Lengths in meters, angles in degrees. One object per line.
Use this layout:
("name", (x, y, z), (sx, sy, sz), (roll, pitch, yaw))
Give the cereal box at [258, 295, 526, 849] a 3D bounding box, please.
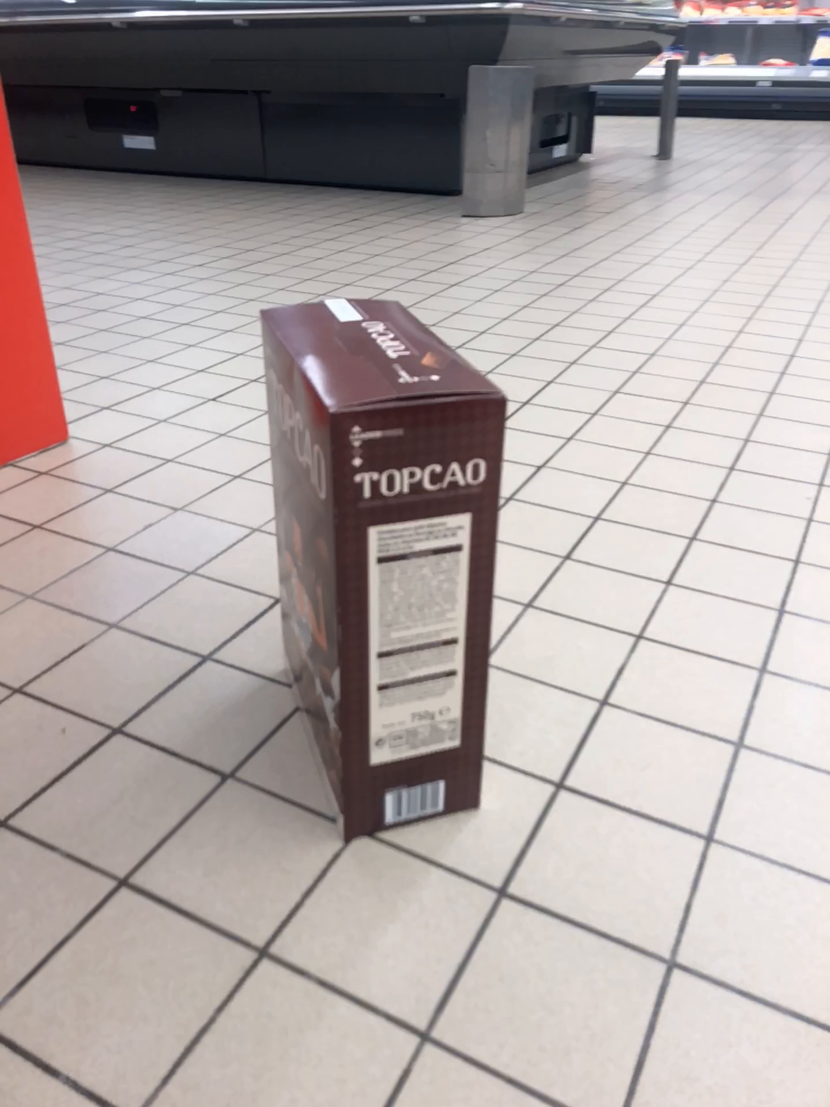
("cereal box", (-0.024, 0.005, 0.591), (0.100, 0.288, 0.201), (-9, 31, -16))
